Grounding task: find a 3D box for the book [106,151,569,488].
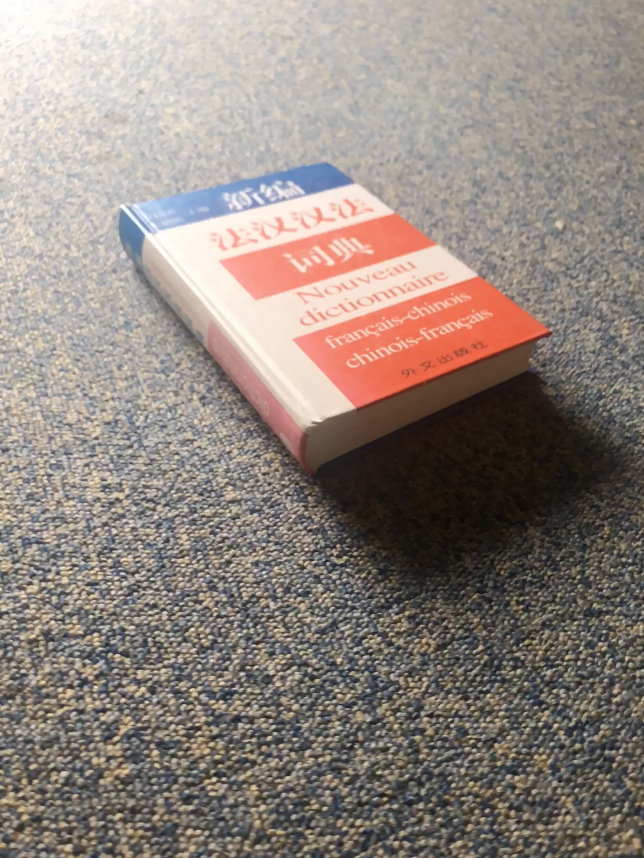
[{"bbox_3d":[-0.002,-0.078,0.387,0.153,0.034,0.209,-22,51,-25],"label":"book"}]
